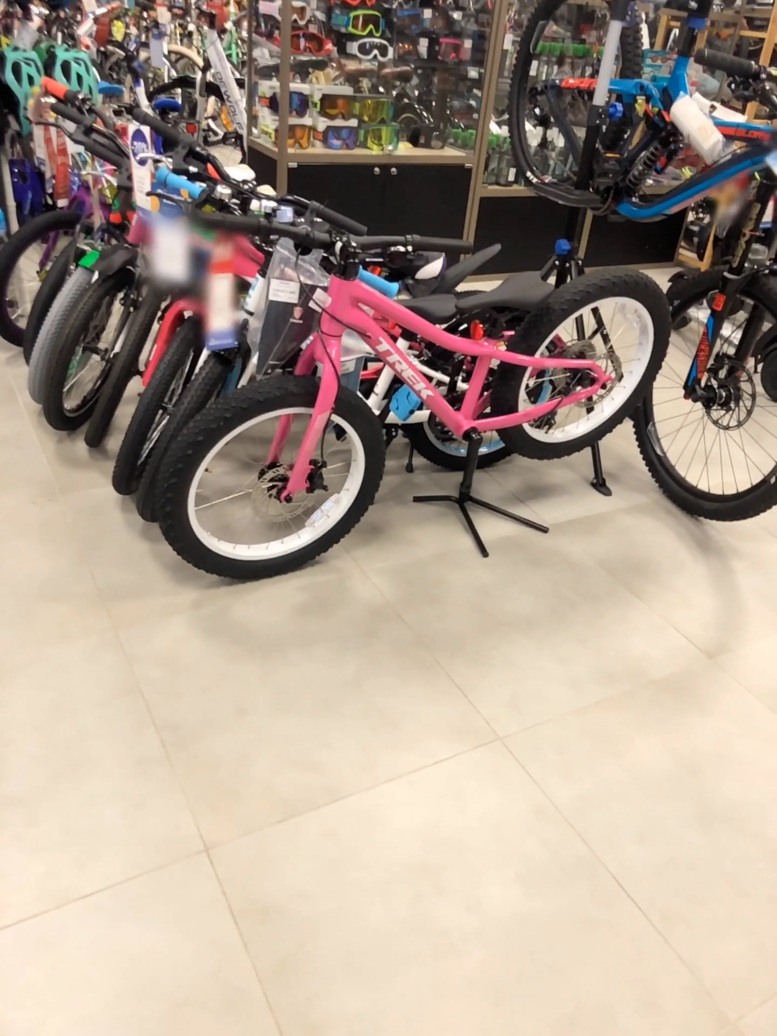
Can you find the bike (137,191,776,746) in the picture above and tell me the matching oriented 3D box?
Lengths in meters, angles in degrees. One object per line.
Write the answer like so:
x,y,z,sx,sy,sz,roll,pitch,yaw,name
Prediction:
0.157,-0.209,1.905,1.337,0.668,0.573,-18,38,-23,bike
